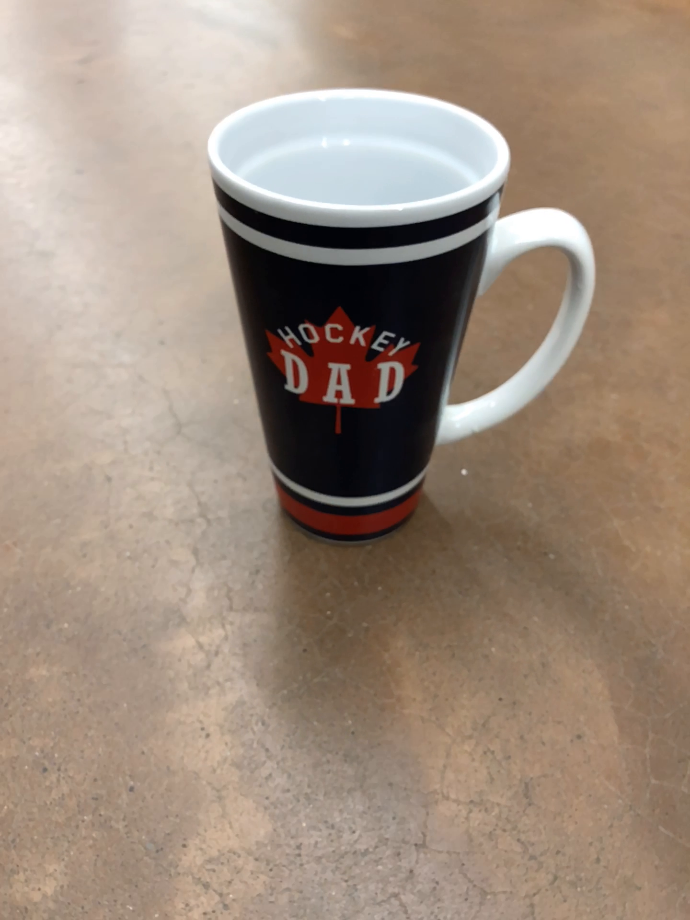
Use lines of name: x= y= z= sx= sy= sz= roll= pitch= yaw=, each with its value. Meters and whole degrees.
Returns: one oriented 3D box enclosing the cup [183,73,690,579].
cup: x=0.022 y=-0.045 z=0.269 sx=0.130 sy=0.130 sz=0.090 roll=-8 pitch=45 yaw=-10
